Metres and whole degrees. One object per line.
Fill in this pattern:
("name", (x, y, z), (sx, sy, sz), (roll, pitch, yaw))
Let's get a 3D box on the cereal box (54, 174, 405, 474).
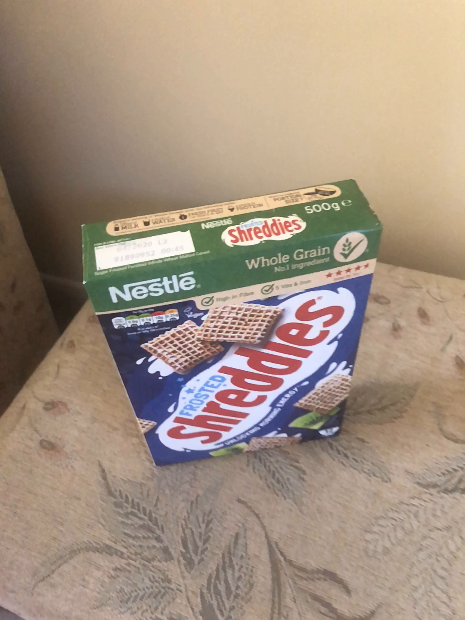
("cereal box", (0.001, 0.032, 0.409), (0.200, 0.259, 0.060), (-9, 51, -4))
